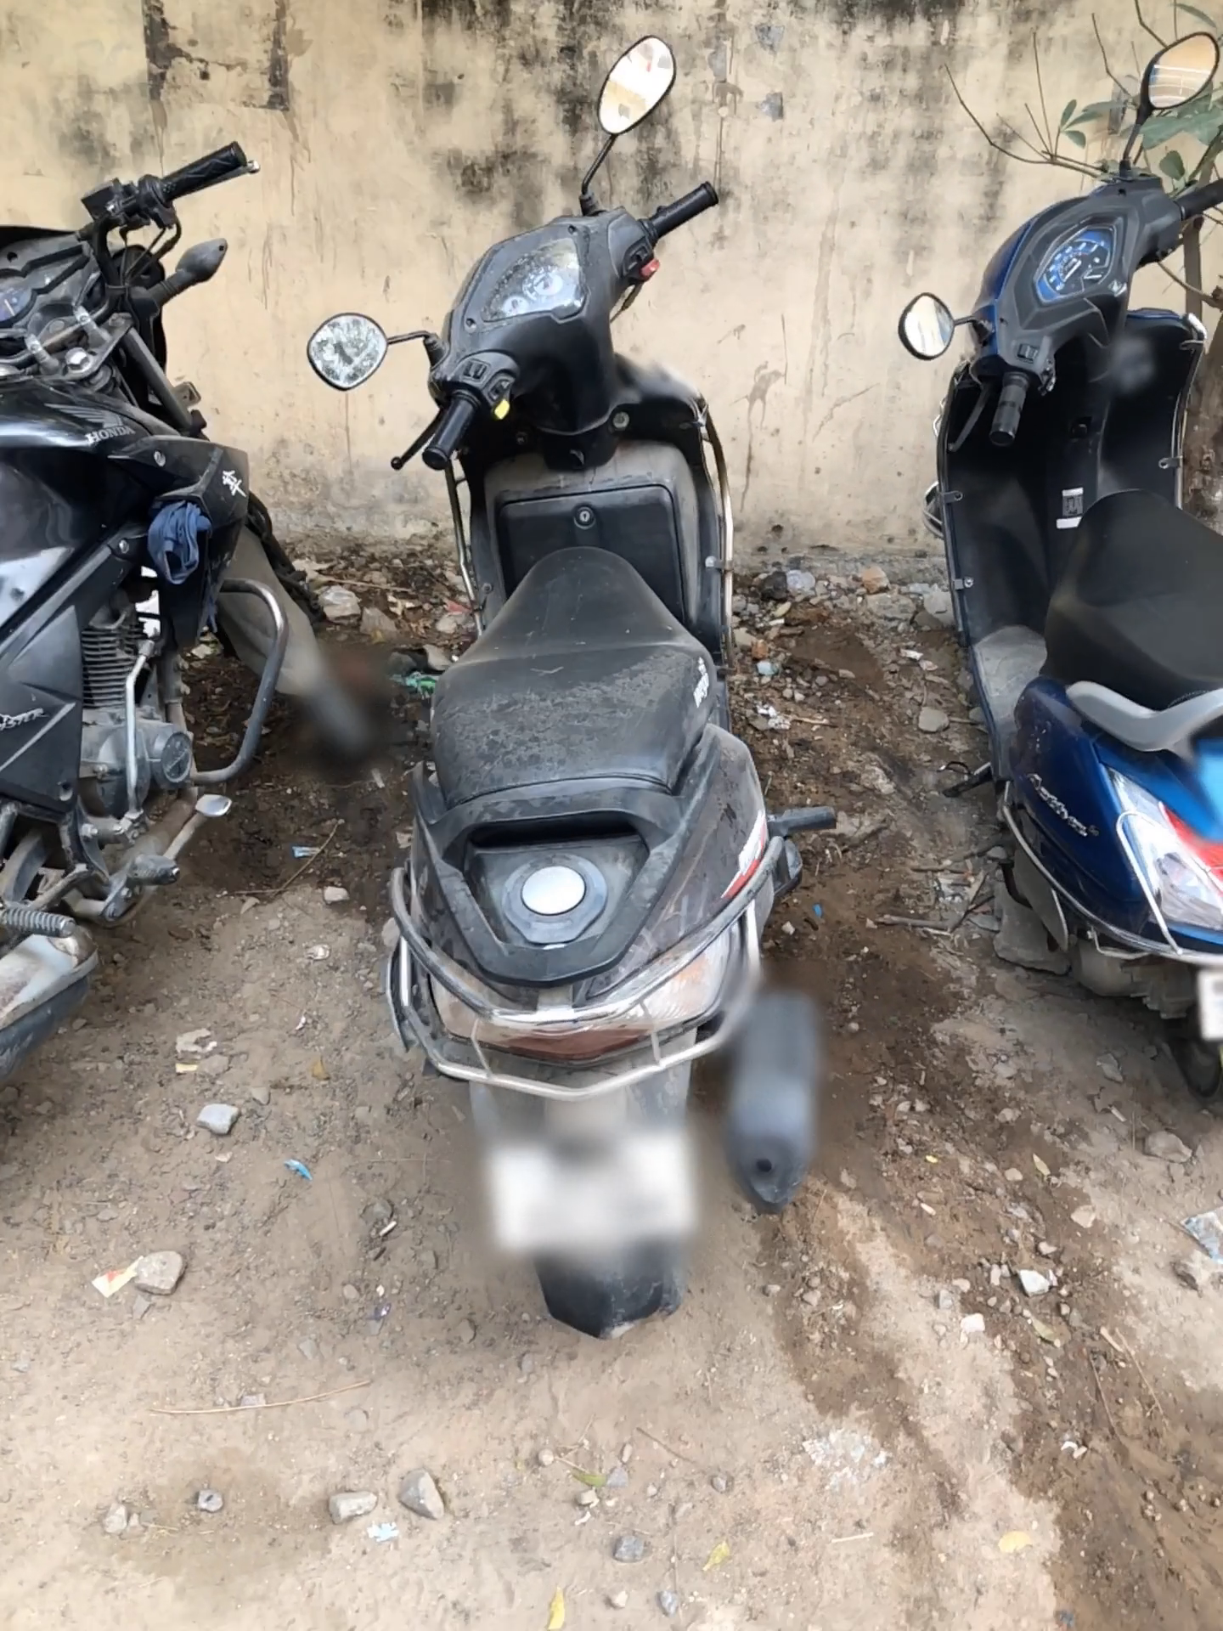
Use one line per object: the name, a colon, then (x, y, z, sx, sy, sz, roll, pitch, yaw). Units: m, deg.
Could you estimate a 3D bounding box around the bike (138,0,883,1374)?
bike: (-0.191, -0.341, 1.843, 0.527, 1.113, 1.569, -2, 36, -7)
